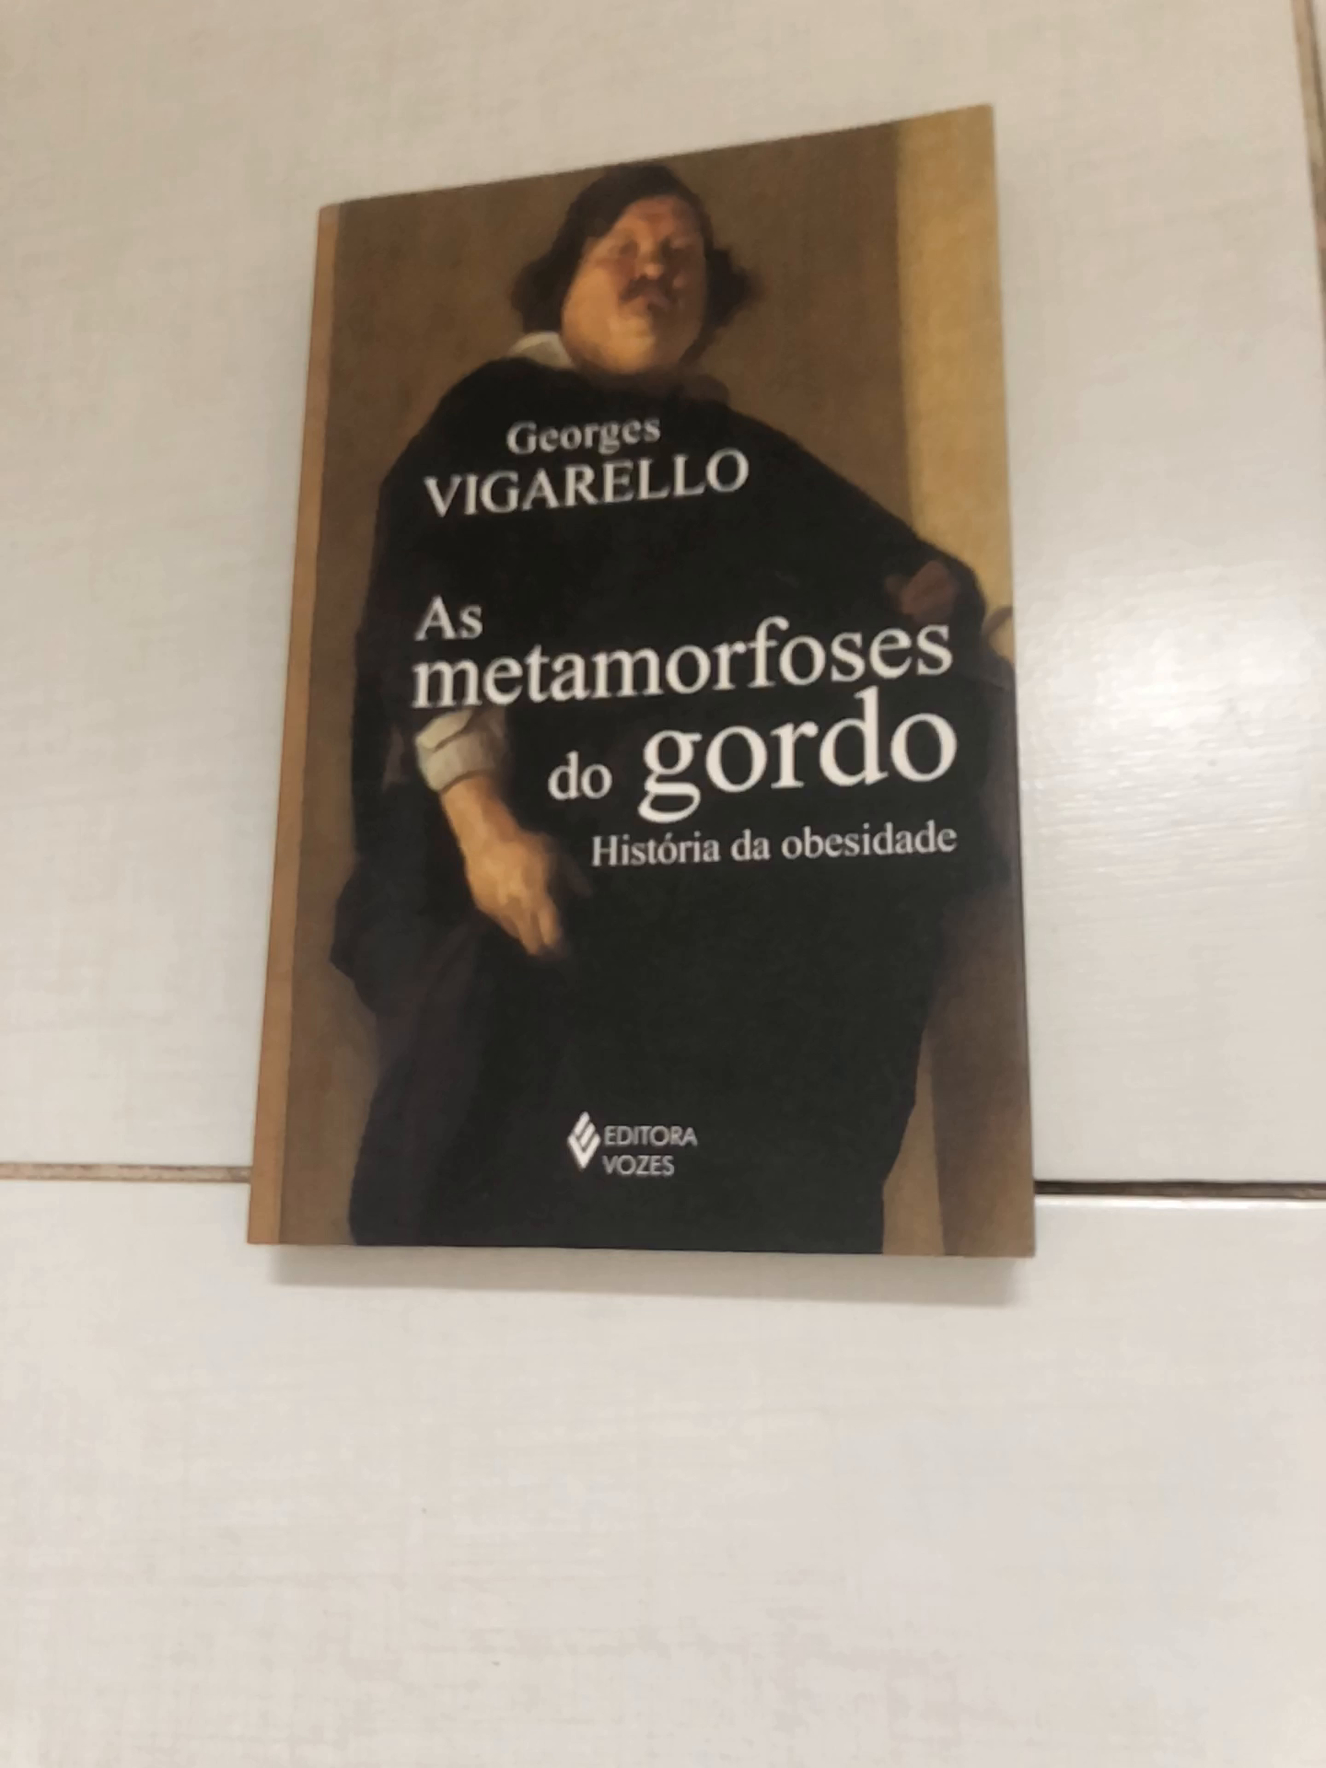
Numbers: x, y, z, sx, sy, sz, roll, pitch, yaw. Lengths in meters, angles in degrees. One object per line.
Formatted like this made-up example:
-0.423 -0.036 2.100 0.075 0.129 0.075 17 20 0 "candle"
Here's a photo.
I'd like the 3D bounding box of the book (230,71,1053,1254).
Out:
-0.005 -0.039 0.271 0.137 0.023 0.204 -2 78 14 "book"
